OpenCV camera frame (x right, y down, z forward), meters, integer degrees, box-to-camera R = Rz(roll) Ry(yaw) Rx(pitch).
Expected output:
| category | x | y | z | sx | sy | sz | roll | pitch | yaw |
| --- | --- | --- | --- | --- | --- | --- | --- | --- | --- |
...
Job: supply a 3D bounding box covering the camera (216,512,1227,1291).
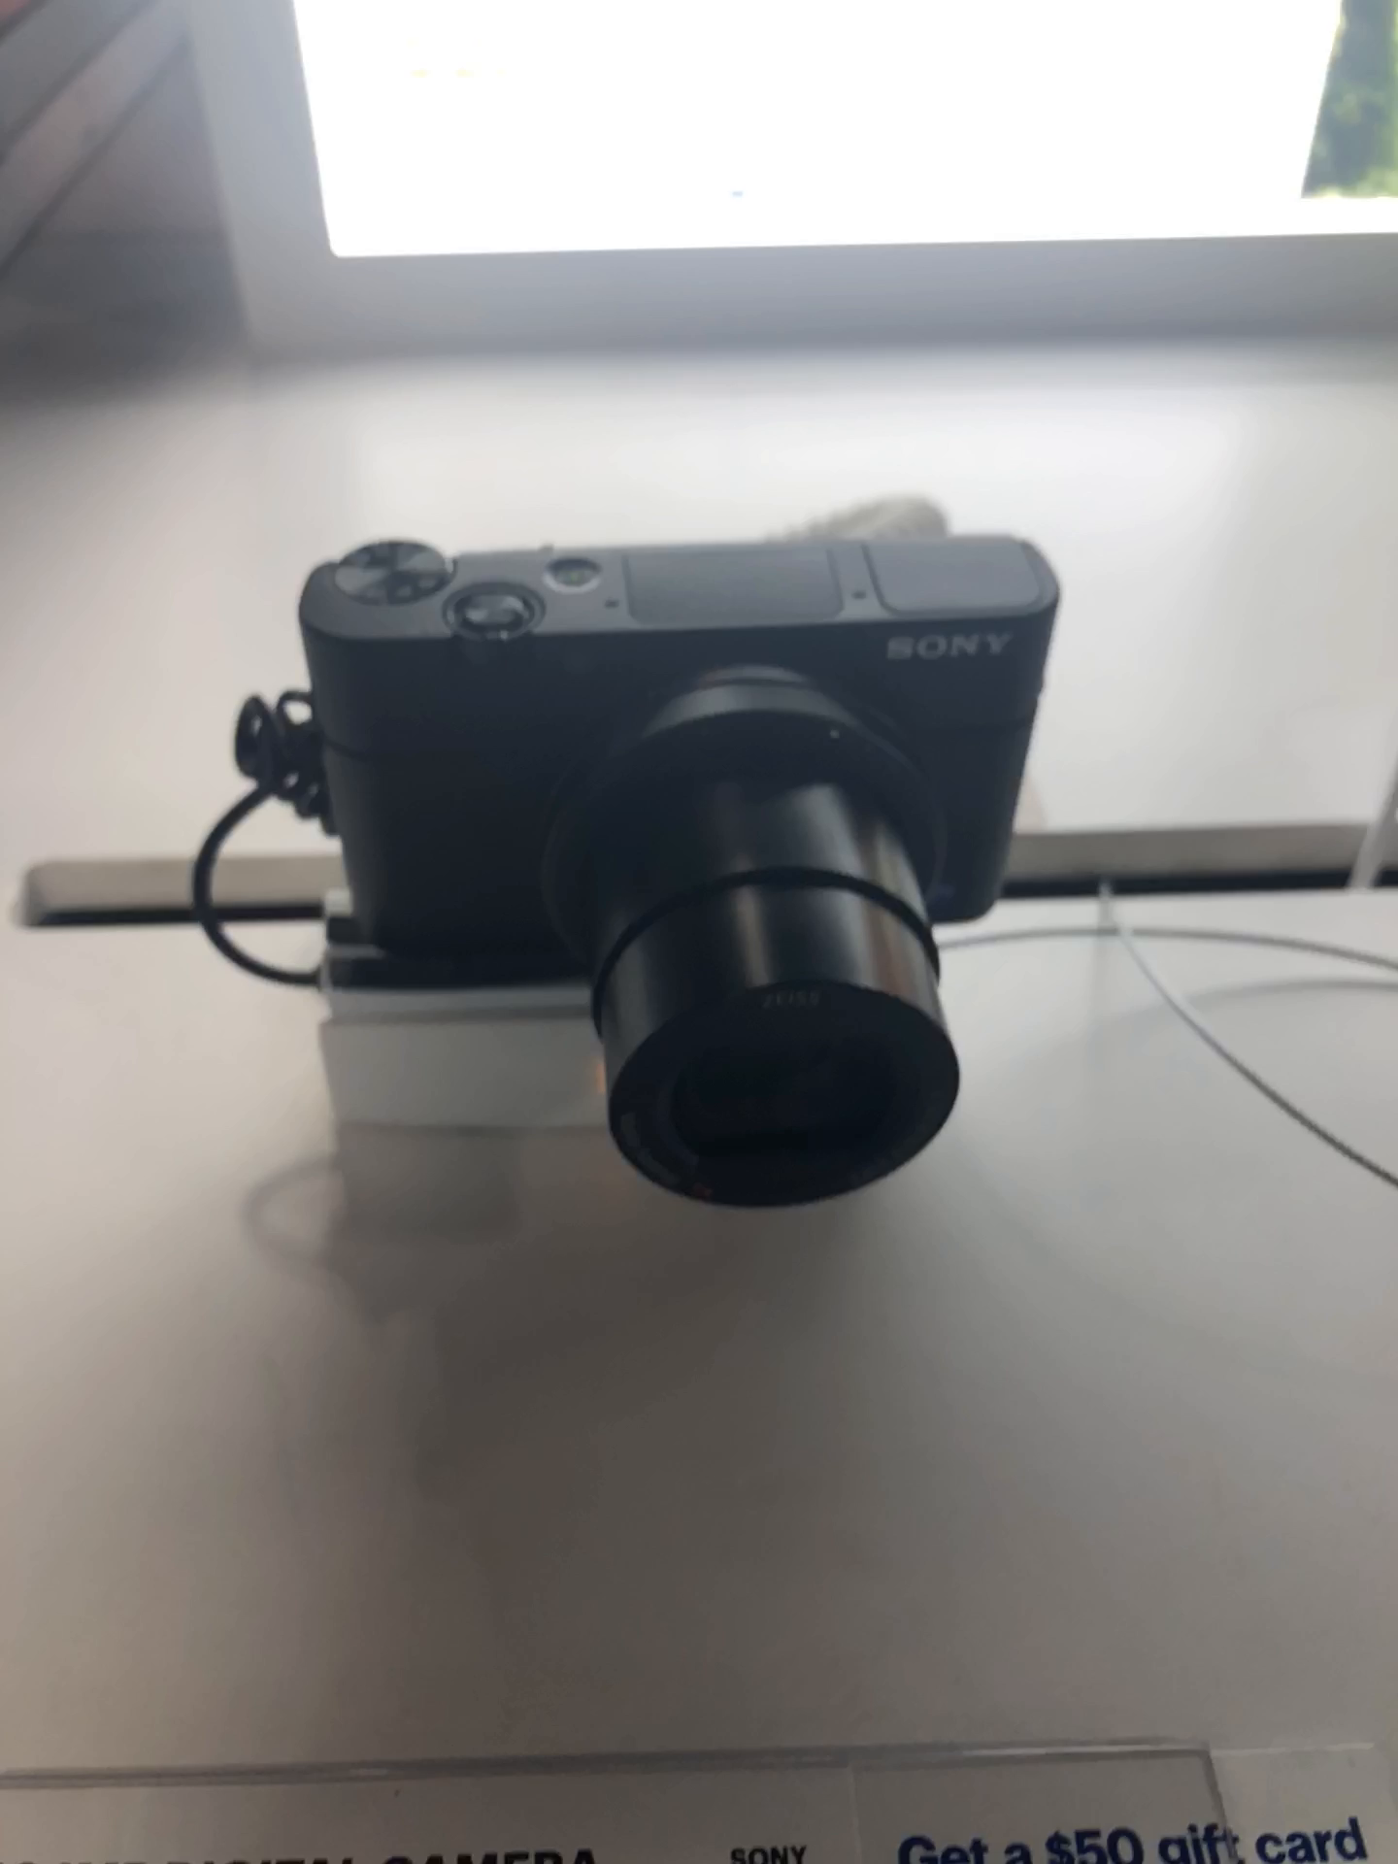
| category | x | y | z | sx | sy | sz | roll | pitch | yaw |
| --- | --- | --- | --- | --- | --- | --- | --- | --- | --- |
| camera | 0.002 | -0.005 | 0.214 | 0.105 | 0.074 | 0.070 | -2 | 41 | -1 |
